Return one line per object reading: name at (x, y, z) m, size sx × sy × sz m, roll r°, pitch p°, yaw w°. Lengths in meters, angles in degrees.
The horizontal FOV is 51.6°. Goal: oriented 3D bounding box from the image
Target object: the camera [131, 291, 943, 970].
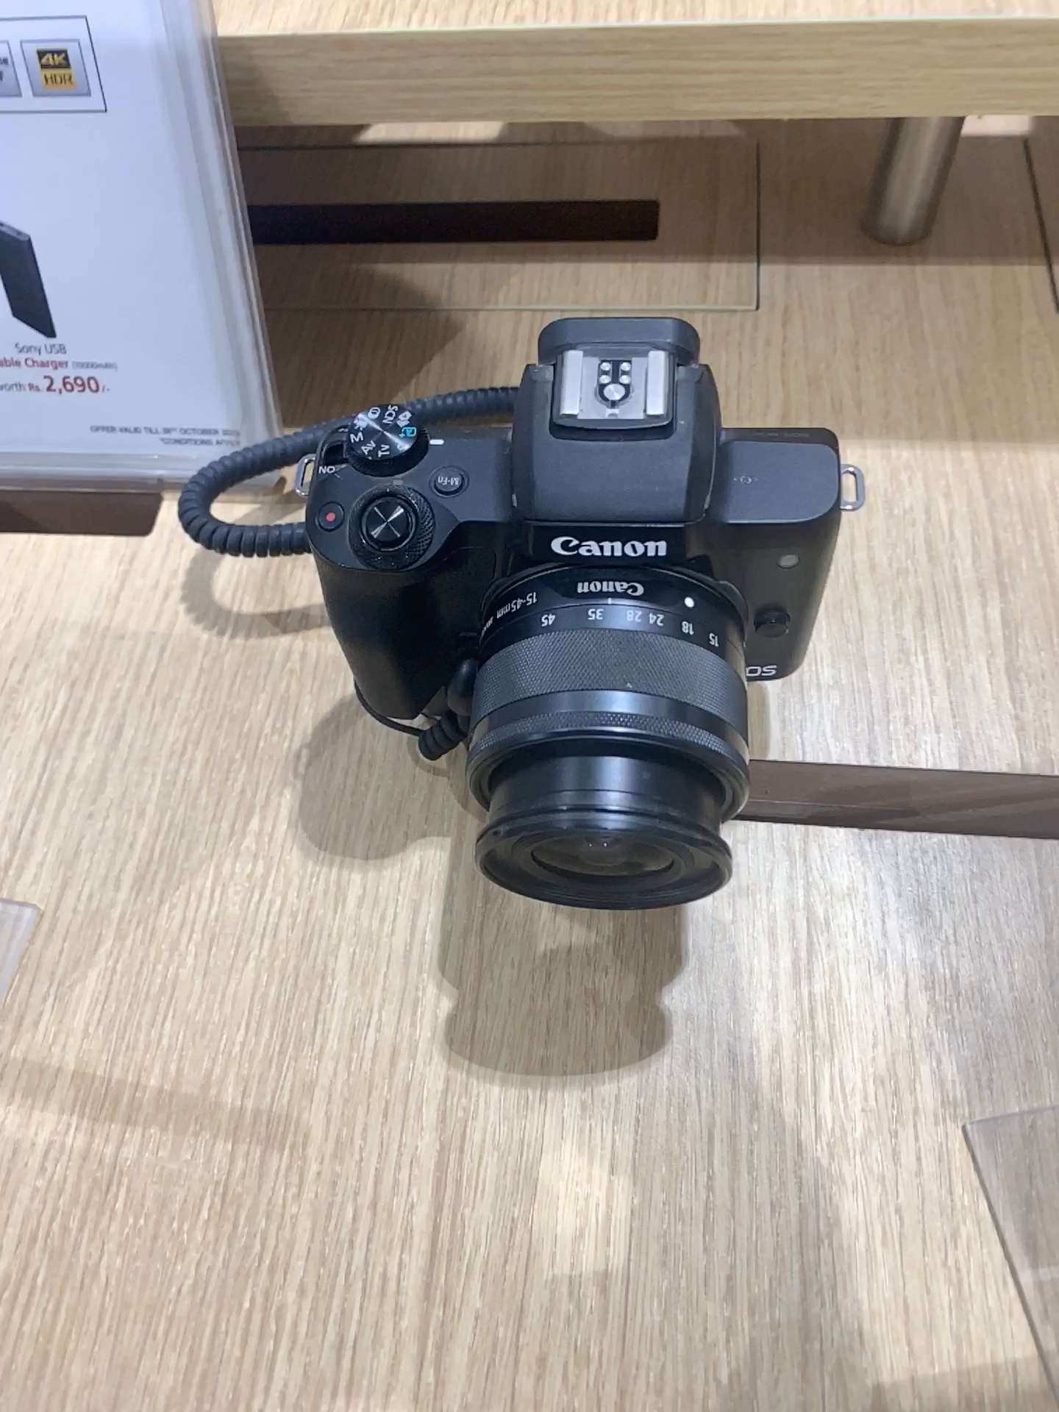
camera at (0.005, -0.010, 0.229) m, size 0.120 × 0.100 × 0.100 m, roll 0°, pitch 61°, yaw 5°
